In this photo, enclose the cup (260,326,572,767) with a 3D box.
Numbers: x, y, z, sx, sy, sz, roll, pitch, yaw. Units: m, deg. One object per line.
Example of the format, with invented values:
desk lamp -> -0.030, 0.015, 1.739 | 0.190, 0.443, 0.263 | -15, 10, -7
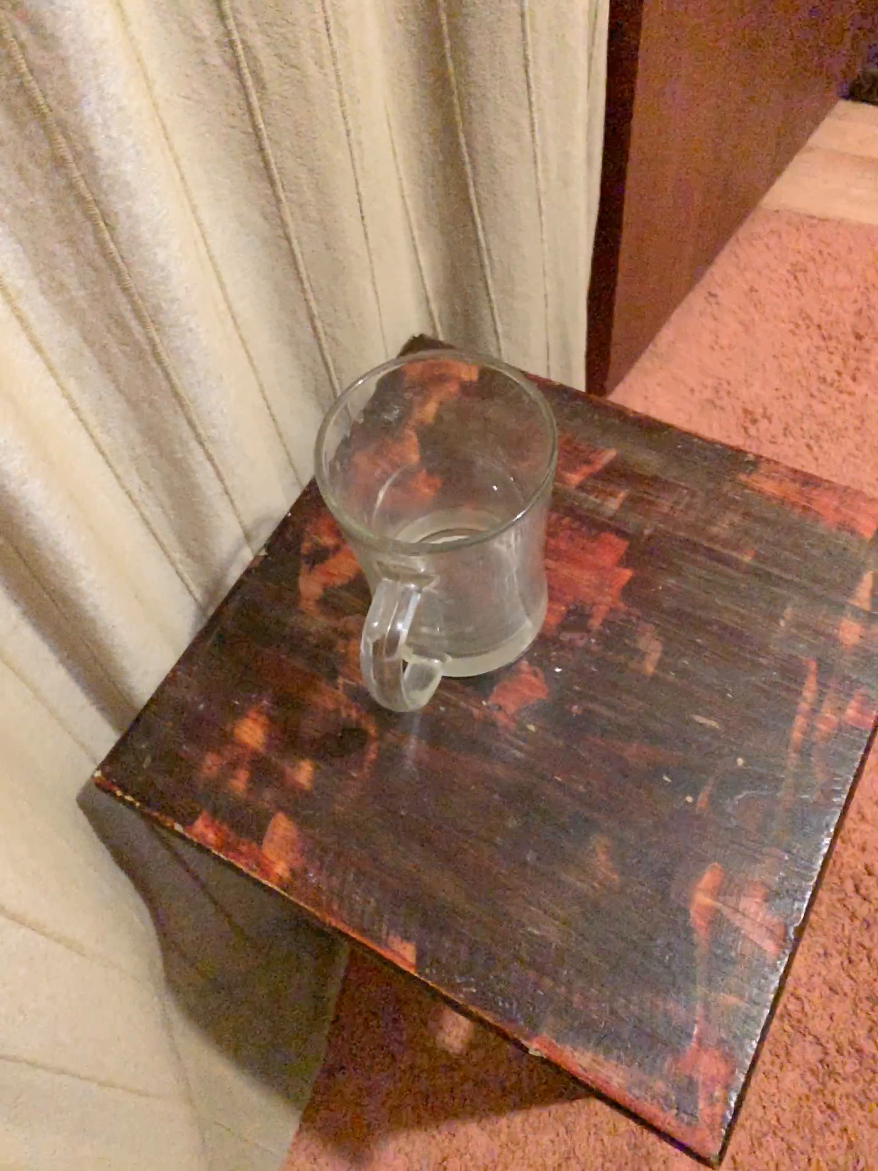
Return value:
cup -> 0.002, -0.014, 0.412 | 0.100, 0.135, 0.143 | 5, 60, 9
